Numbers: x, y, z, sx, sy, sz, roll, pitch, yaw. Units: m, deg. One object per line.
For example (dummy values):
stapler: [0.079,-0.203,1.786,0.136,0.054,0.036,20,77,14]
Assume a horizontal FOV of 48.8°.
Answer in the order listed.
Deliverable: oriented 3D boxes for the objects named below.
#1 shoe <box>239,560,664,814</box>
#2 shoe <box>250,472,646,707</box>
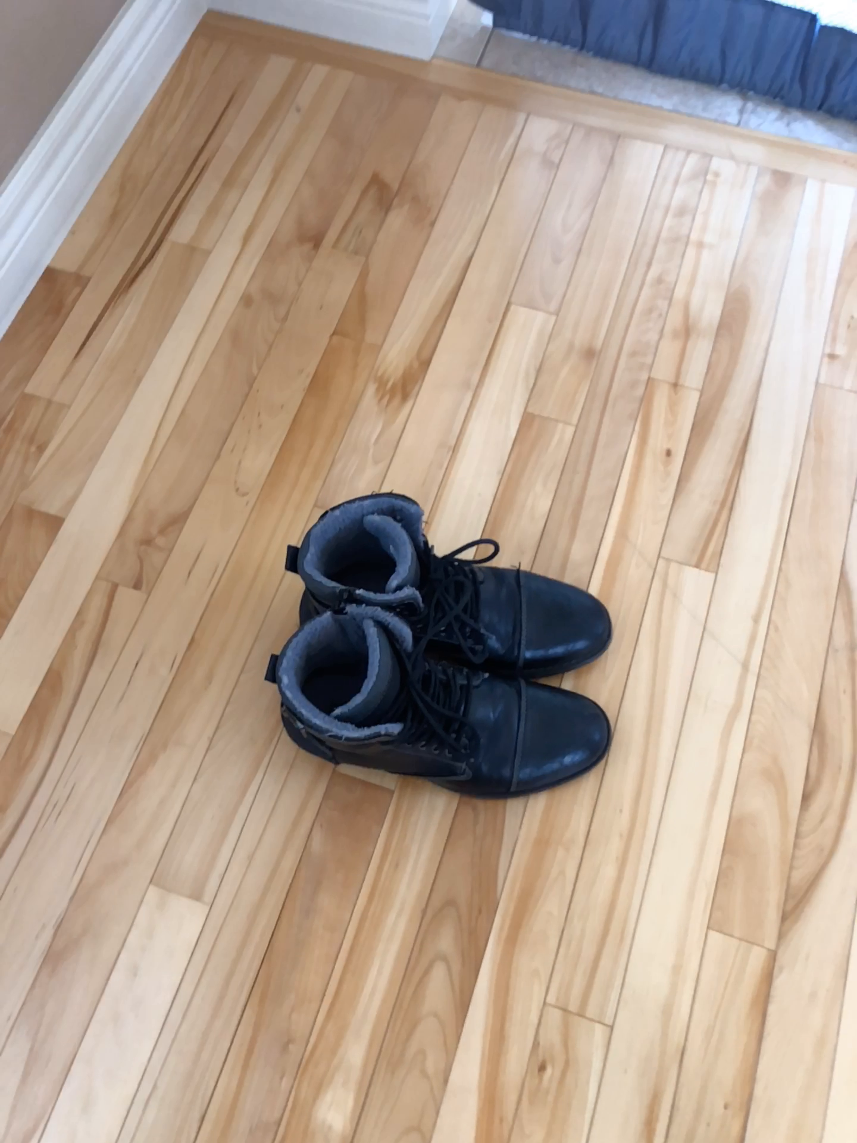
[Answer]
shoe: [0.021,0.101,0.758,0.290,0.200,0.120,6,66,3]
shoe: [0.018,0.024,0.831,0.300,0.200,0.120,3,66,2]
